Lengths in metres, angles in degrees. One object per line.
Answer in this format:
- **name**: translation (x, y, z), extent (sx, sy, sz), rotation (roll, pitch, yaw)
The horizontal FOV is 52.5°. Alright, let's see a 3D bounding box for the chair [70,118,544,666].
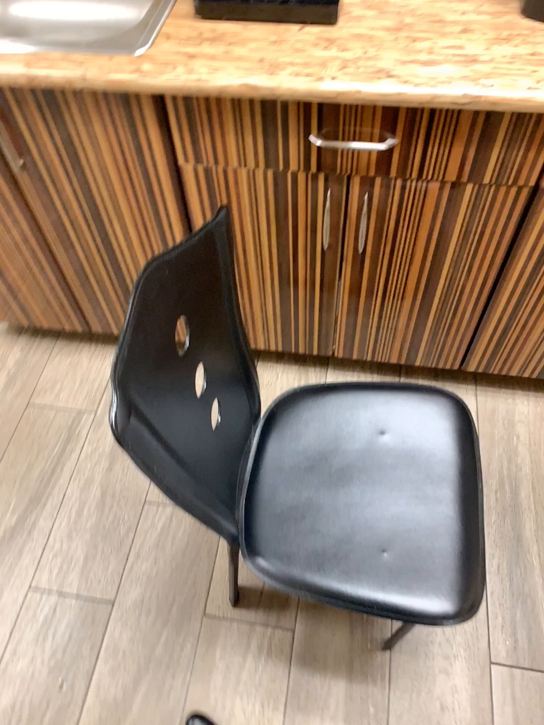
- **chair**: translation (0.121, 0.167, 0.943), extent (0.473, 0.943, 0.463), rotation (7, 56, 7)
